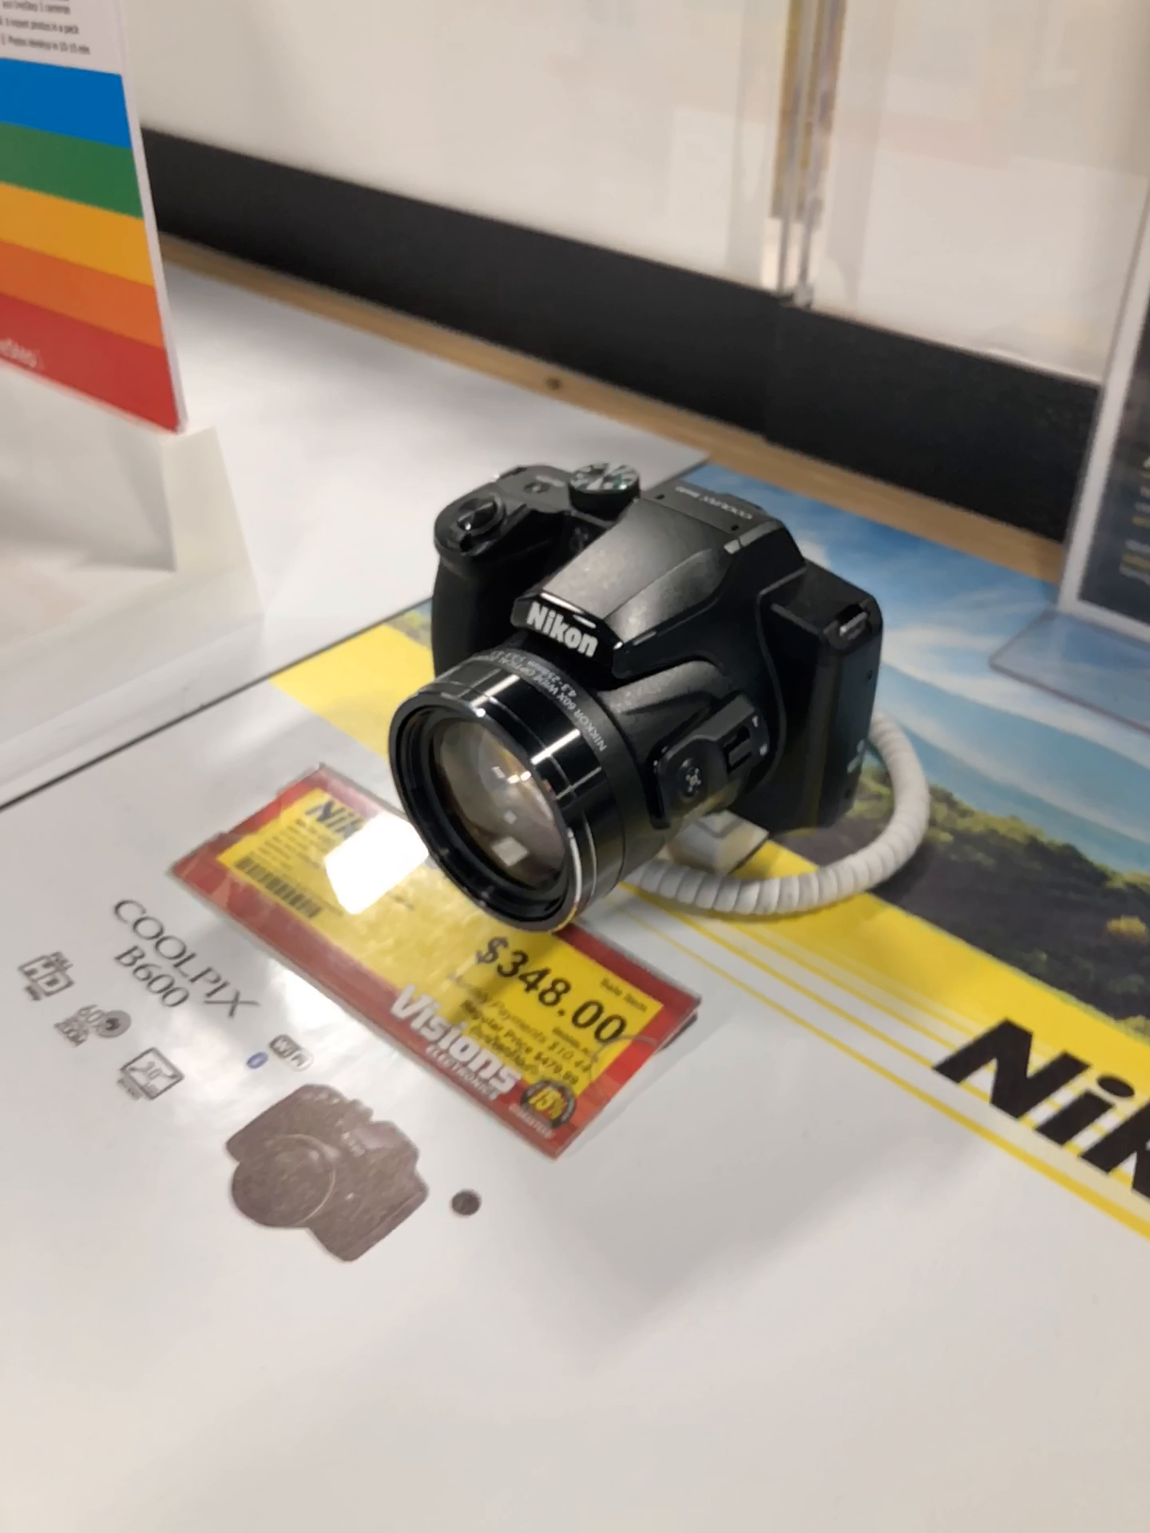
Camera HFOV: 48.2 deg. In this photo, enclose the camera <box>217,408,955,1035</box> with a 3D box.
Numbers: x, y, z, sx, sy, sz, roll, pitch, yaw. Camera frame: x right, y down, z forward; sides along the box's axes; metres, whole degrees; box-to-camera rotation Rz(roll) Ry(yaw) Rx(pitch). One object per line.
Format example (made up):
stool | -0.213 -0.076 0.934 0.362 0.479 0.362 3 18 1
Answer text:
camera | 0.001 -0.023 0.317 0.131 0.070 0.110 30 46 34
